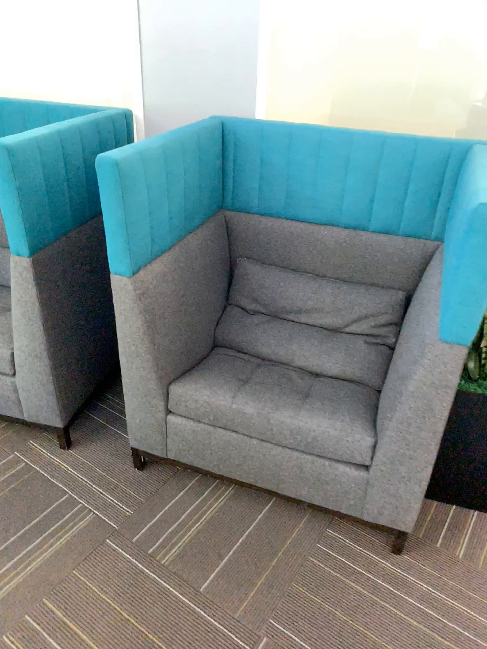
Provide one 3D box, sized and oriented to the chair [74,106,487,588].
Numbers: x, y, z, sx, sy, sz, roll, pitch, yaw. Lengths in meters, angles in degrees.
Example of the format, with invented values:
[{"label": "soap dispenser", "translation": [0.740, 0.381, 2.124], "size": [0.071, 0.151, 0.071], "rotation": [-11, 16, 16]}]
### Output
[{"label": "chair", "translation": [0.218, -0.038, 1.810], "size": [1.051, 1.213, 1.015], "rotation": [12, 32, 16]}]
